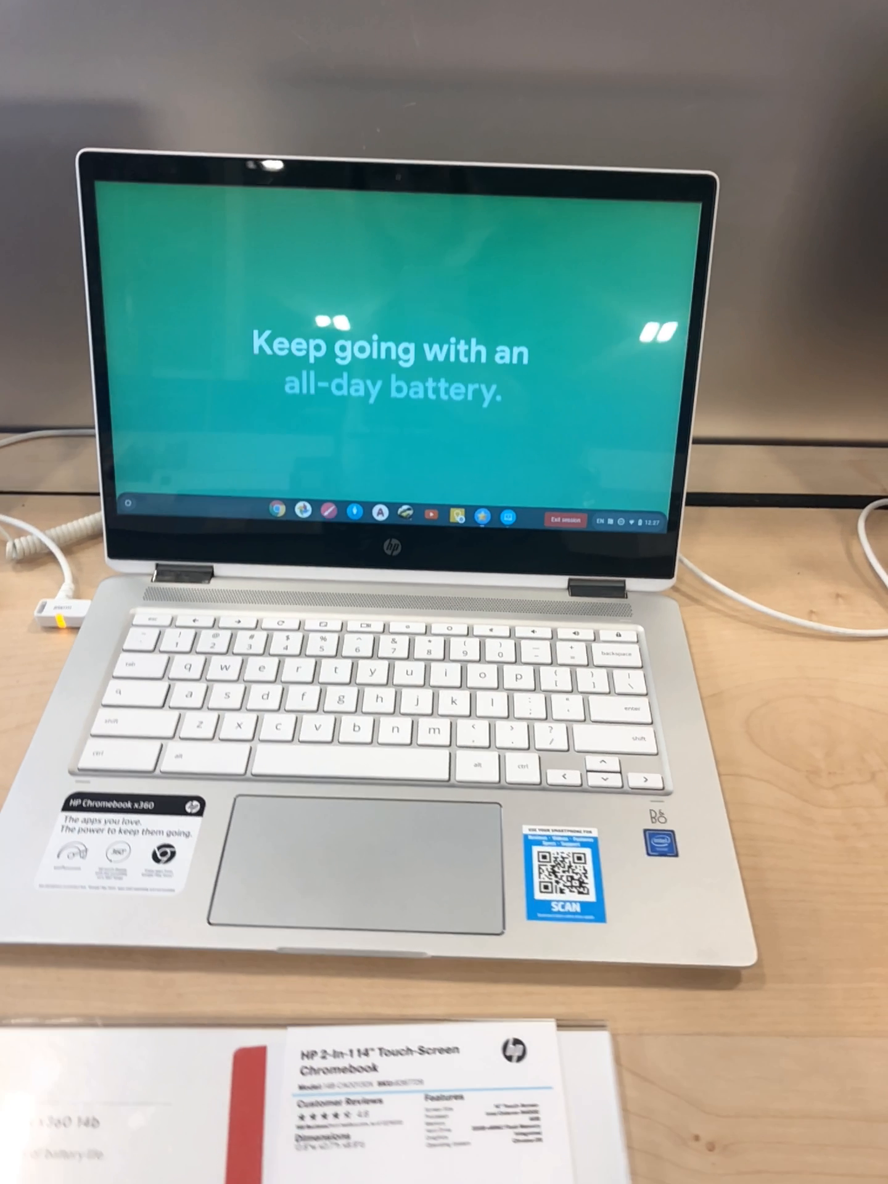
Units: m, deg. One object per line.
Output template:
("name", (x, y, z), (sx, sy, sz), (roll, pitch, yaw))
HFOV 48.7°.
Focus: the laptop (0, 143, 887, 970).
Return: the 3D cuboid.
("laptop", (-0.035, -0.036, 0.450), (0.323, 0.205, 0.320), (2, 42, -1))
